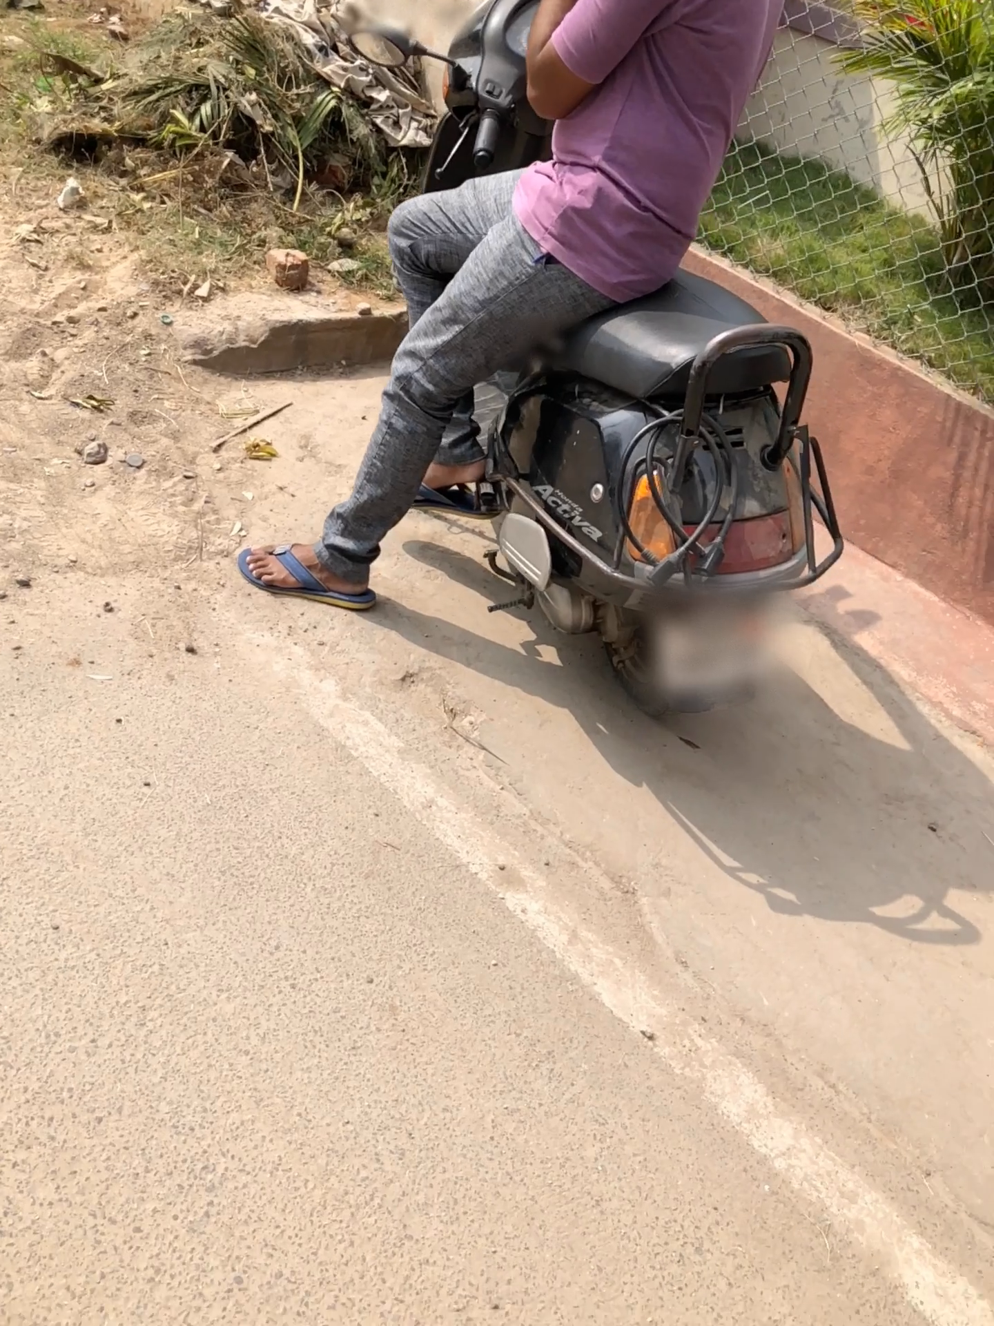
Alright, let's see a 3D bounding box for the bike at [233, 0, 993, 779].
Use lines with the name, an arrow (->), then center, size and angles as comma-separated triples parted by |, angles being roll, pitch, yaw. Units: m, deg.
bike -> 0.052, -0.748, 2.194 | 0.710, 1.152, 1.554 | 0, 38, -26
